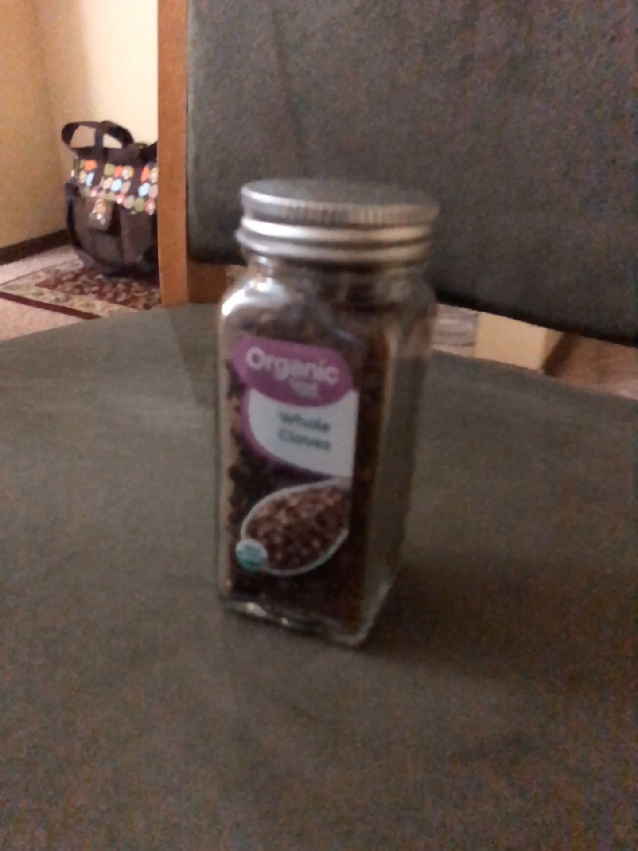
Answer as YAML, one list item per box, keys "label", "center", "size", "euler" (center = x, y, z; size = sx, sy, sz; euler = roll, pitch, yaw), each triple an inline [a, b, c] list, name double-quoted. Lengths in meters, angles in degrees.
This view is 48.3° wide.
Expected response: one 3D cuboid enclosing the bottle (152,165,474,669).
- label: "bottle"
  center: [0.000, -0.005, 0.169]
  size: [0.050, 0.100, 0.050]
  euler: [2, 25, -1]
